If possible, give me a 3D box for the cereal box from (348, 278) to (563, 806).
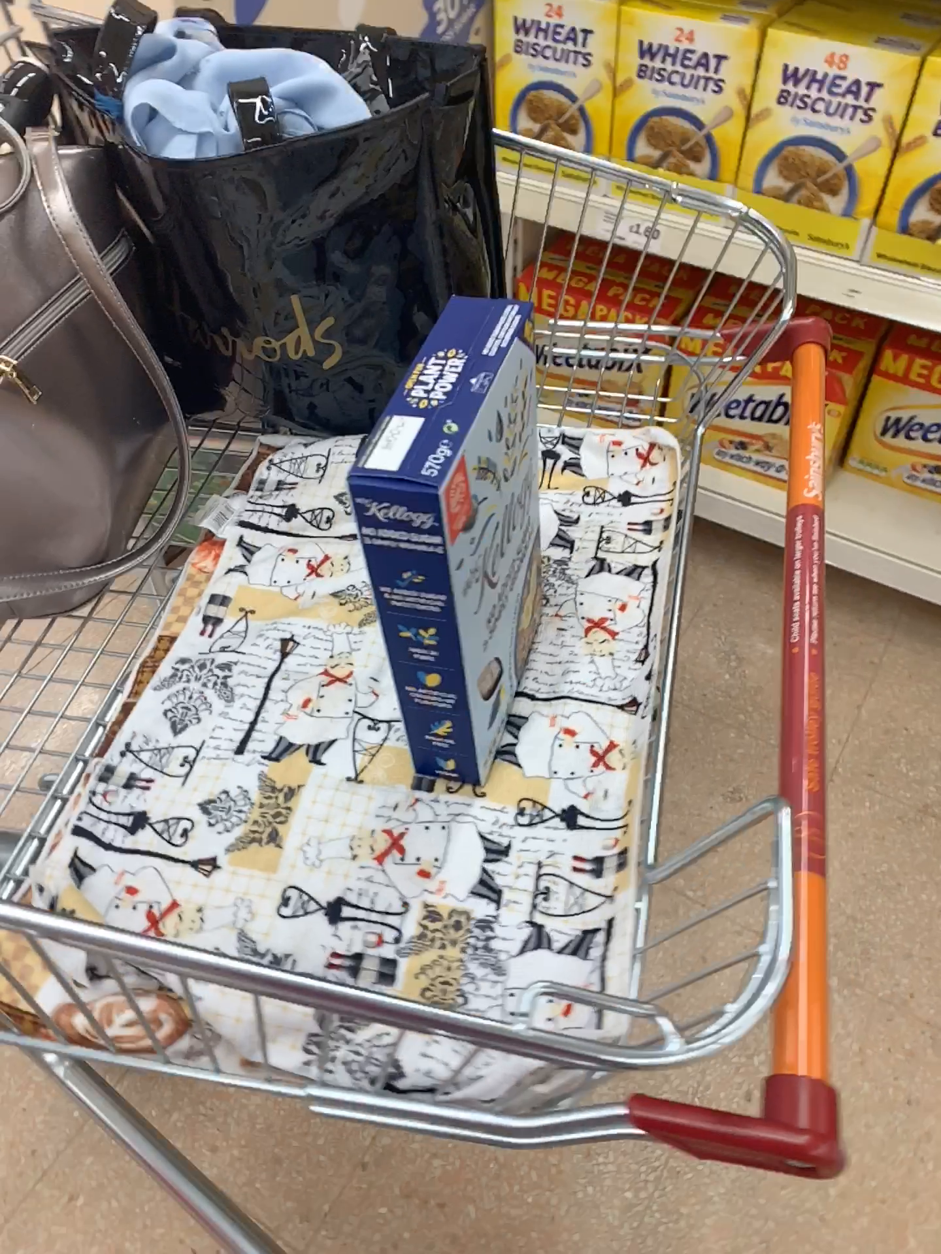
[{"bbox_3d":[0.007,-0.041,0.552,0.050,0.248,0.171,8,48,15],"label":"cereal box"}]
